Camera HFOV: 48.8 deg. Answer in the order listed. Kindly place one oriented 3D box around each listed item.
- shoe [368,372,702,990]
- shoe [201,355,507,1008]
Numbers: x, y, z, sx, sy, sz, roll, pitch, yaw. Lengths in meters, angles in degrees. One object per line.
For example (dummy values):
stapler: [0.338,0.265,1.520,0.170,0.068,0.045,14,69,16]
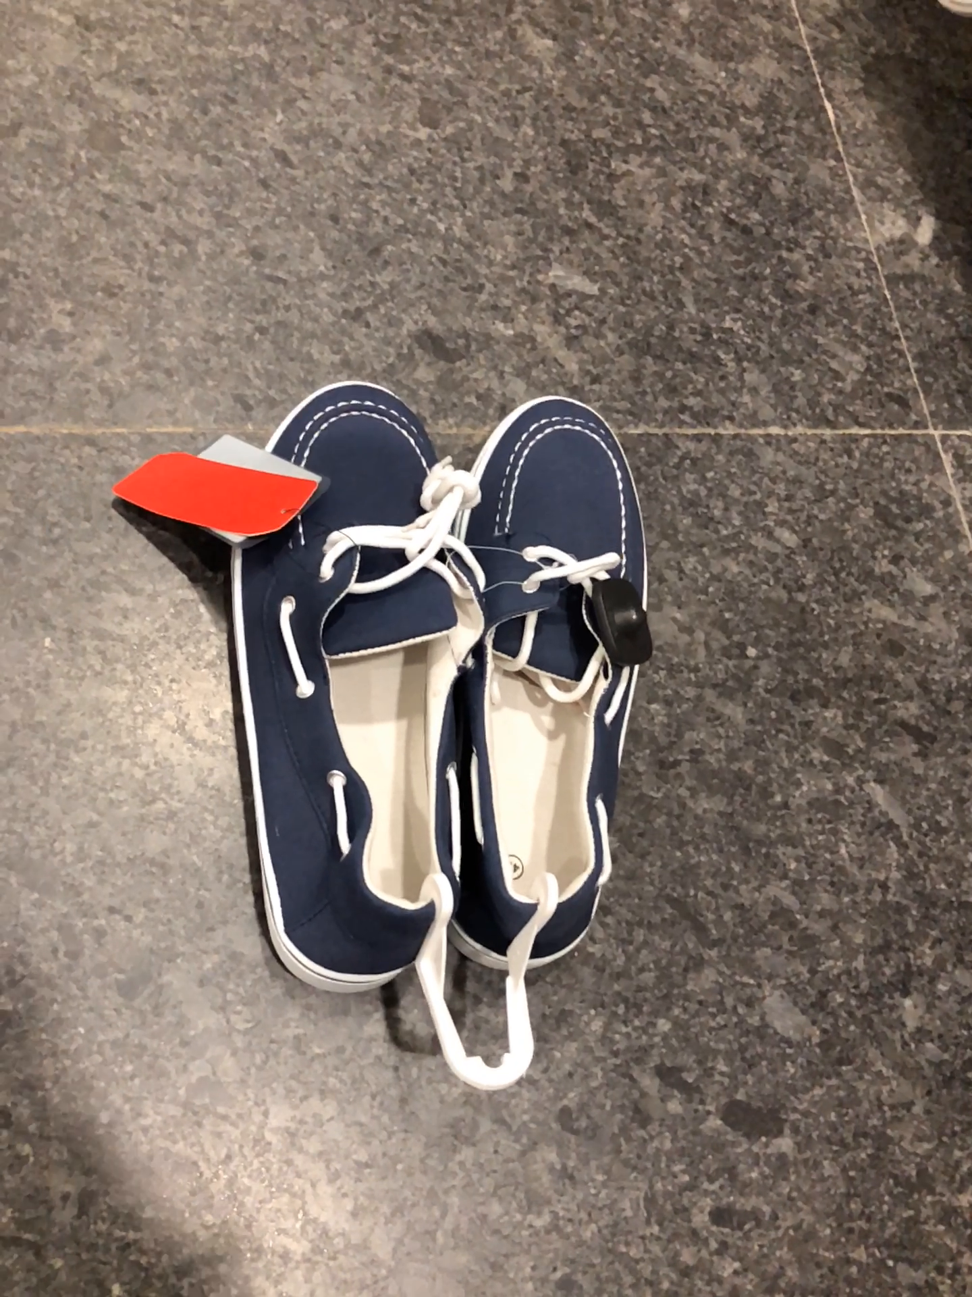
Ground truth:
shoe: [0.024,0.019,0.494,0.096,0.115,0.247,13,66,-15]
shoe: [-0.062,0.019,0.460,0.097,0.115,0.249,4,69,-18]
